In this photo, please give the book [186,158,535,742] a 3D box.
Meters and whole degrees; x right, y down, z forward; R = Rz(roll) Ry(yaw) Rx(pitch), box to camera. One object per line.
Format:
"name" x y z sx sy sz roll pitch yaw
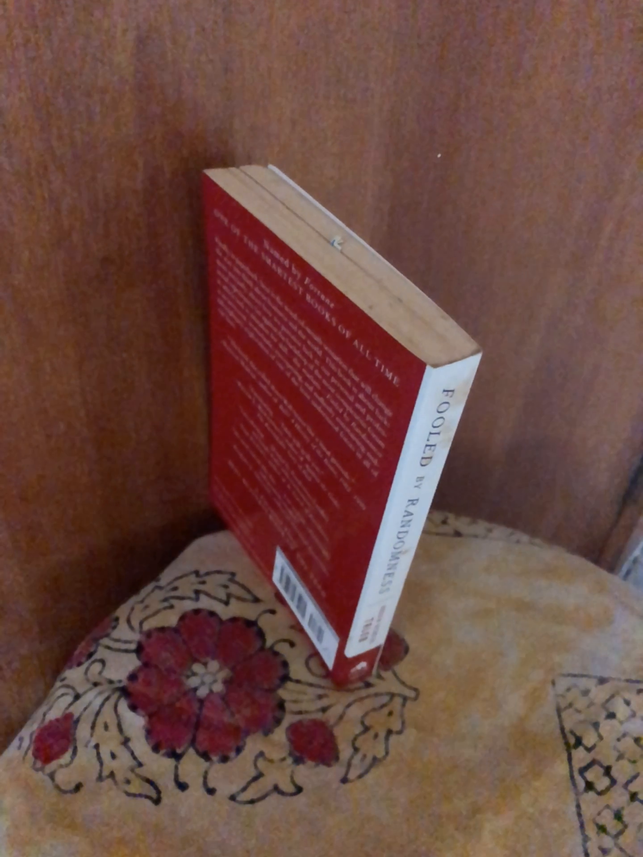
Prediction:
"book" -0.006 0.010 0.317 0.040 0.199 0.160 -18 44 -28
